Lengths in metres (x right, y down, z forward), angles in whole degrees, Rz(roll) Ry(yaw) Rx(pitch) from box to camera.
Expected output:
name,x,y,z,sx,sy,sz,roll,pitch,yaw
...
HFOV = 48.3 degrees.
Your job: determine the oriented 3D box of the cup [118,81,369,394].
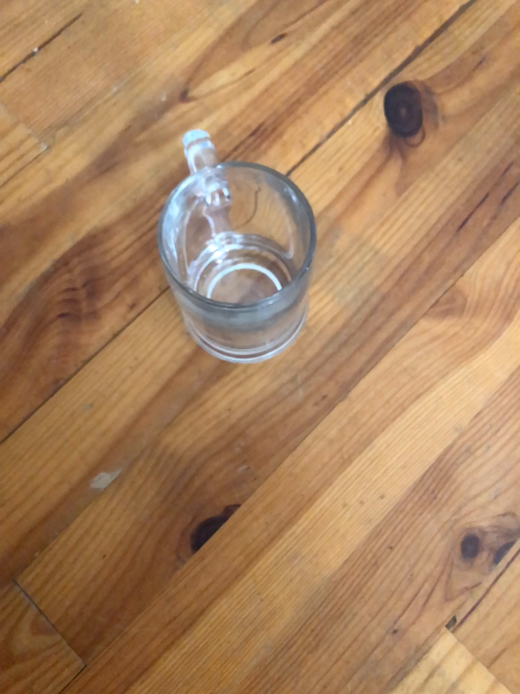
name,x,y,z,sx,sy,sz,roll,pitch,yaw
cup,-0.011,-0.055,0.342,0.091,0.110,0.128,-17,77,-5
